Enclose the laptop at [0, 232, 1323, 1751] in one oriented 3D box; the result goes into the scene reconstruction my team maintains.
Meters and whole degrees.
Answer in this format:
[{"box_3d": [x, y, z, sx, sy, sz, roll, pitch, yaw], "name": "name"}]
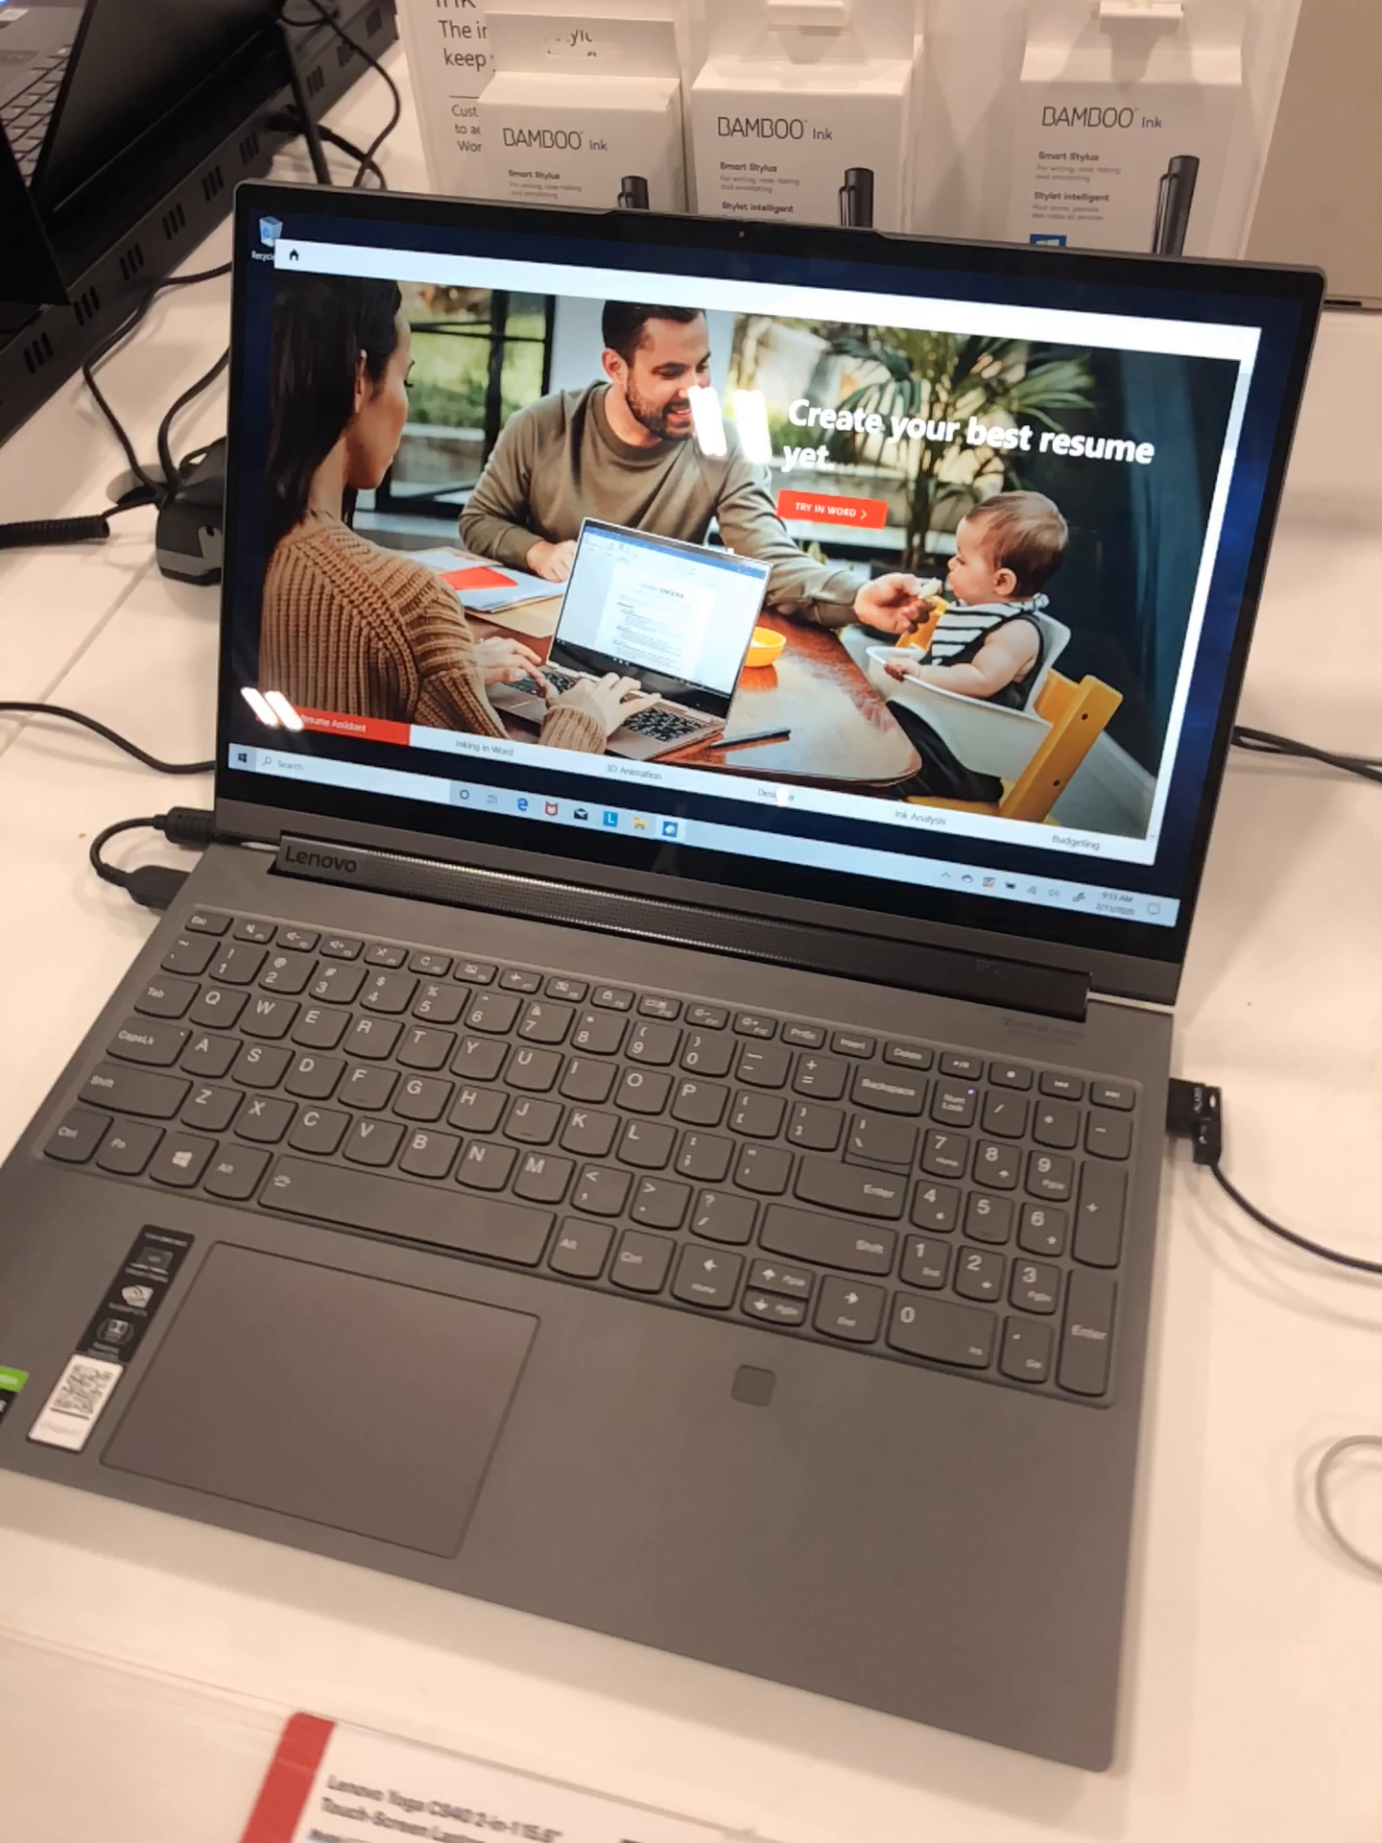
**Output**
[{"box_3d": [-0.019, -0.020, 0.450, 0.345, 0.189, 0.369, 10, 49, 12], "name": "laptop"}]
